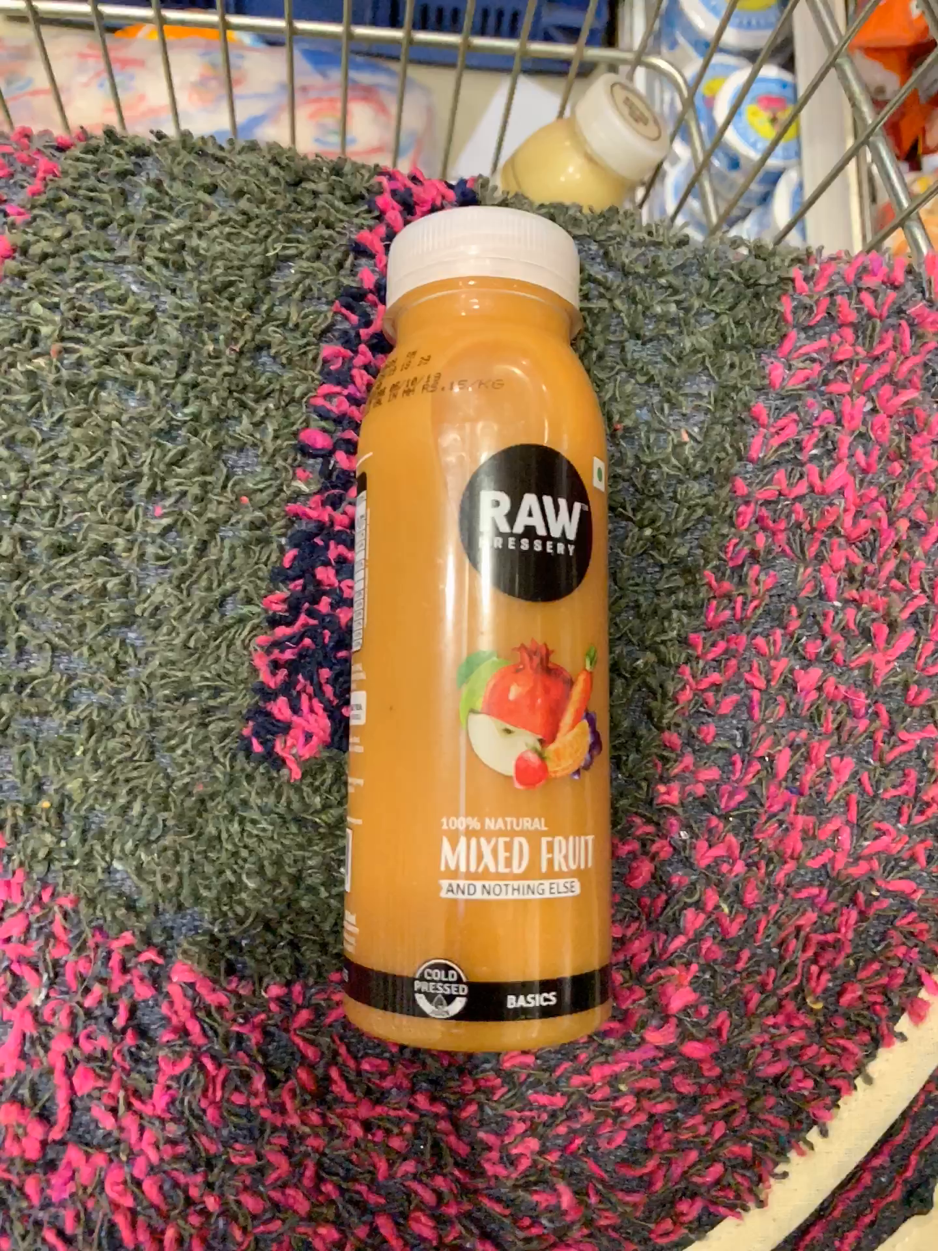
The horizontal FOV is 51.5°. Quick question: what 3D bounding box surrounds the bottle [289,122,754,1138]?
[{"bbox_3d":[0.008,0.001,0.182,0.060,0.060,0.150,6,81,-26],"label":"bottle"}]
